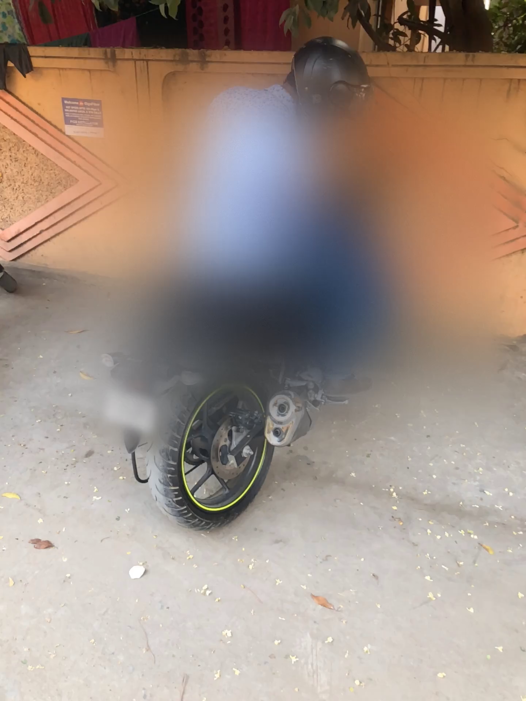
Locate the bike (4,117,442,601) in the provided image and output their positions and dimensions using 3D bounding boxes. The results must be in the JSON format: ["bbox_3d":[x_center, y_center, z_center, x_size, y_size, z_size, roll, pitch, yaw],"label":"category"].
[{"bbox_3d":[0.036,-0.249,2.438,0.795,1.188,1.896,16,31,27],"label":"bike"}]
